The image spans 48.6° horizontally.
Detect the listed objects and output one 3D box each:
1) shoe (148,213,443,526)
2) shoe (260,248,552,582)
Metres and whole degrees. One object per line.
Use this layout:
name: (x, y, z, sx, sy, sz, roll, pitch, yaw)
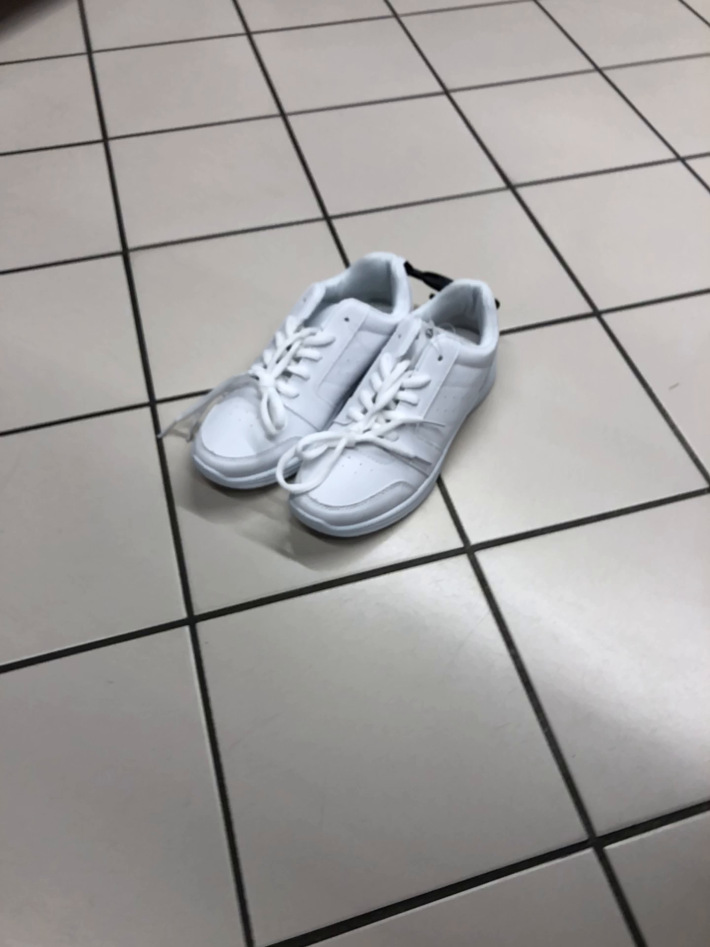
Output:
shoe: (-0.036, -0.089, 0.612, 0.090, 0.090, 0.241, 29, 58, 19)
shoe: (0.043, -0.052, 0.583, 0.090, 0.090, 0.241, 29, 58, 19)
